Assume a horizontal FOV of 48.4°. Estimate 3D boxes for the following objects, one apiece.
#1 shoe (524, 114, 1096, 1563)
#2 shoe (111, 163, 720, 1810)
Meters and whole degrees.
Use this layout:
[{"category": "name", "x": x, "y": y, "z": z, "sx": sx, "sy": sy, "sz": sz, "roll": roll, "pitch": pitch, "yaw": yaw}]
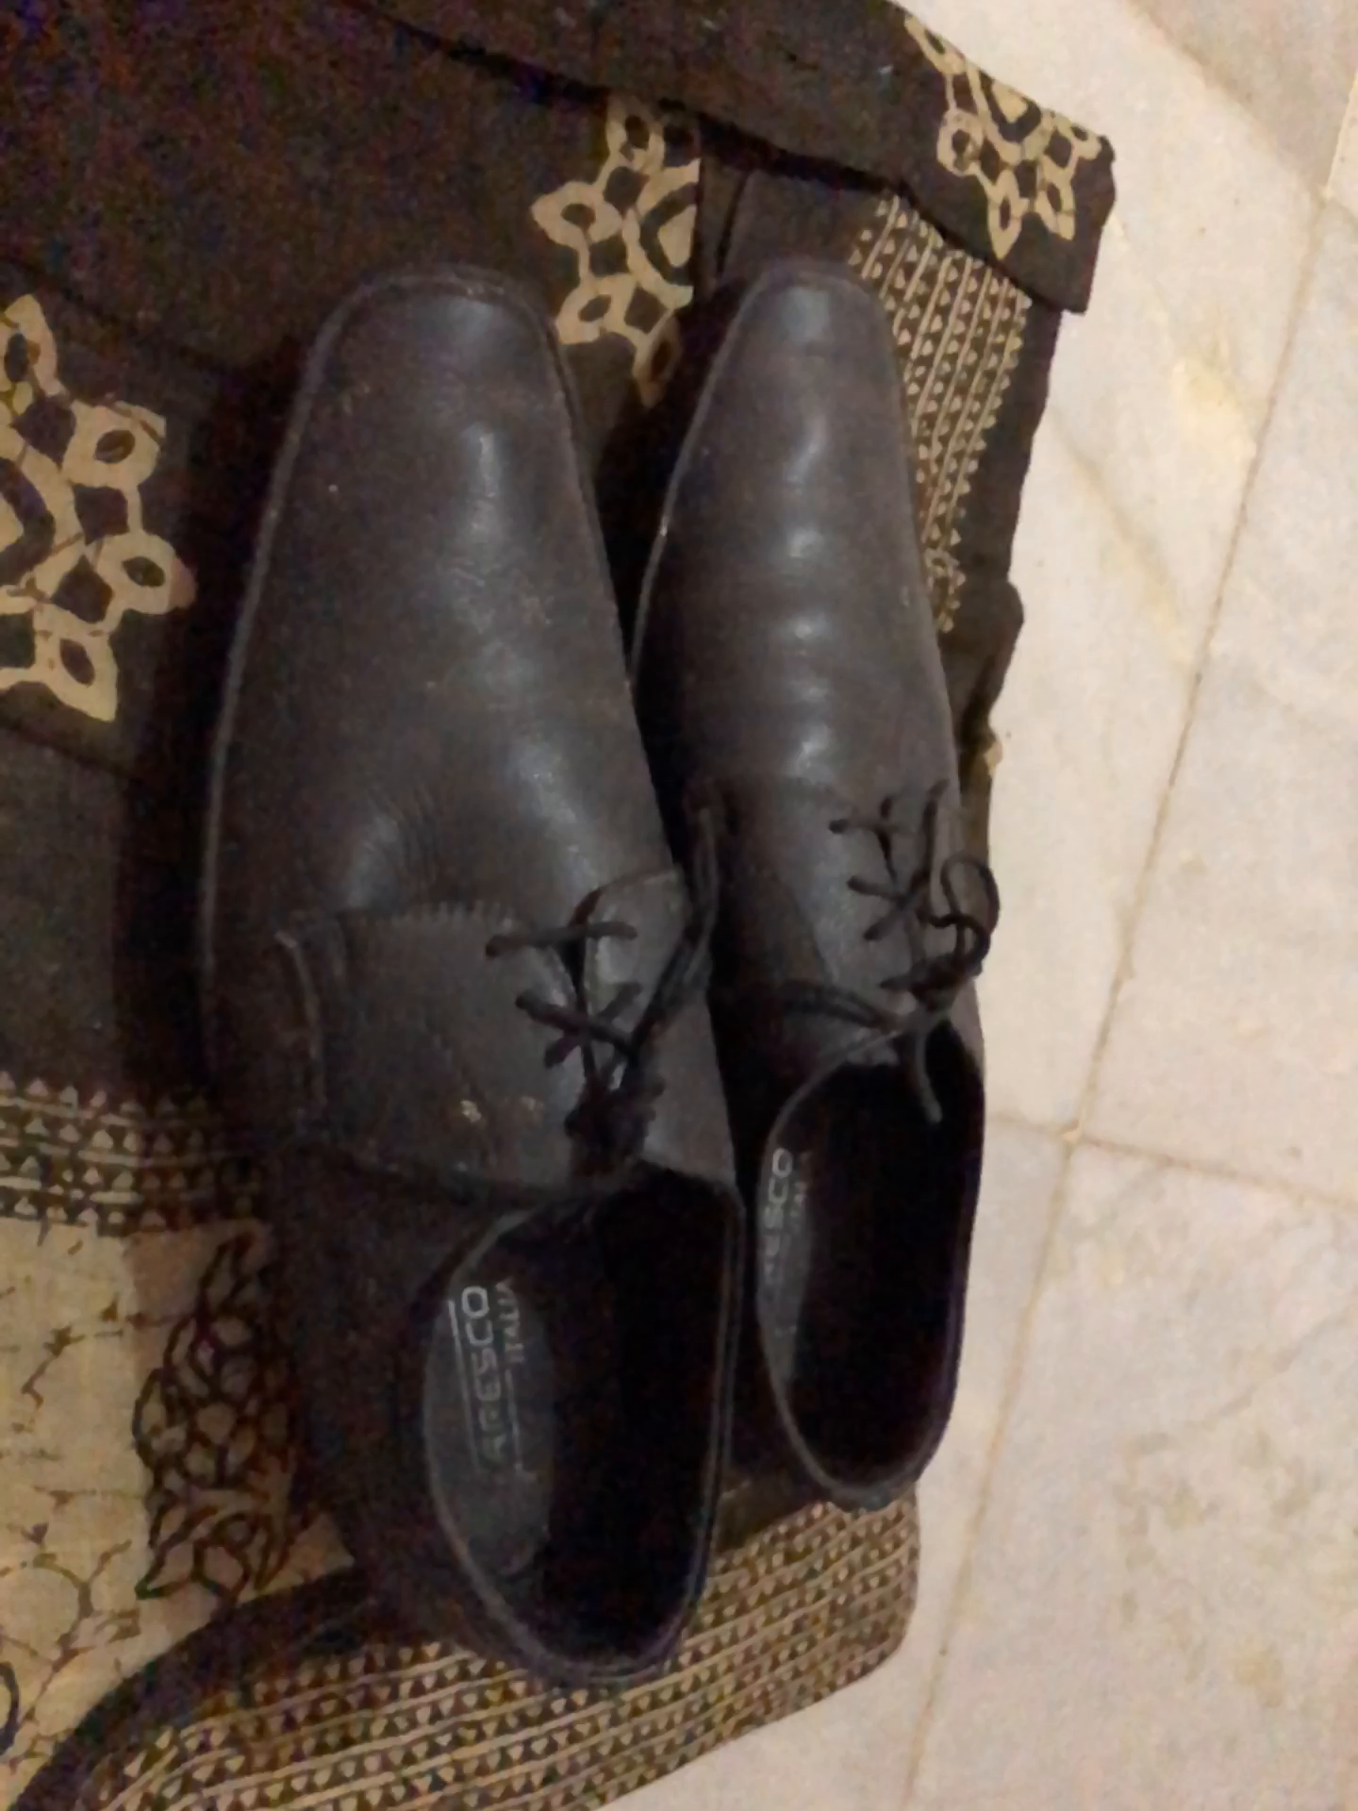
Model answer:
[{"category": "shoe", "x": 0.033, "y": -0.012, "z": 0.413, "sx": 0.110, "sy": 0.070, "sz": 0.340, "roll": 0, "pitch": 97, "yaw": -35}, {"category": "shoe", "x": -0.057, "y": 0.024, "z": 0.359, "sx": 0.110, "sy": 0.070, "sz": 0.340, "roll": -7, "pitch": 101, "yaw": -34}]
